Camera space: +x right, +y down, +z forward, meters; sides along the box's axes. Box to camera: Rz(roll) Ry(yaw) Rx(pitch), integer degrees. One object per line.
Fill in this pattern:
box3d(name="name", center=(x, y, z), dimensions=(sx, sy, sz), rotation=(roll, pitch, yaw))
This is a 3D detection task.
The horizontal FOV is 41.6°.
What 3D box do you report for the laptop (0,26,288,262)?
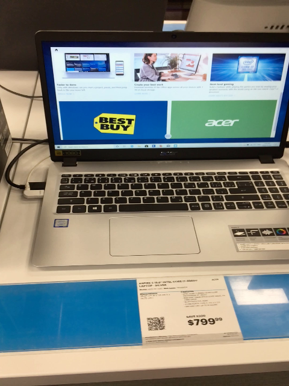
box3d(name="laptop", center=(0.036, -0.082, 0.537), dimensions=(0.392, 0.198, 0.300), rotation=(-2, 45, -5))
